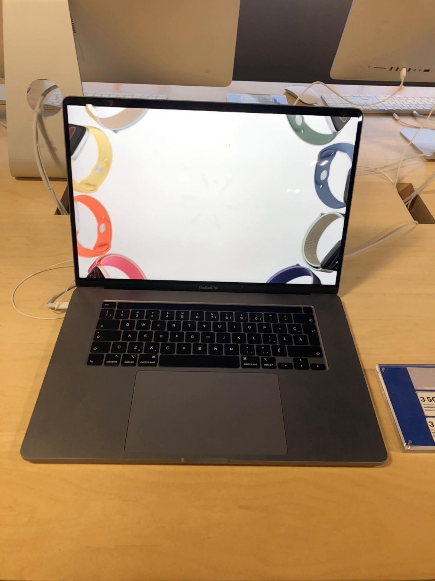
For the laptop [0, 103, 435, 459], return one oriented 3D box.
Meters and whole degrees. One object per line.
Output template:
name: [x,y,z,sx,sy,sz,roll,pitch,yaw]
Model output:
laptop: [-0.008,-0.025,0.519,0.352,0.230,0.316,2,40,-2]
